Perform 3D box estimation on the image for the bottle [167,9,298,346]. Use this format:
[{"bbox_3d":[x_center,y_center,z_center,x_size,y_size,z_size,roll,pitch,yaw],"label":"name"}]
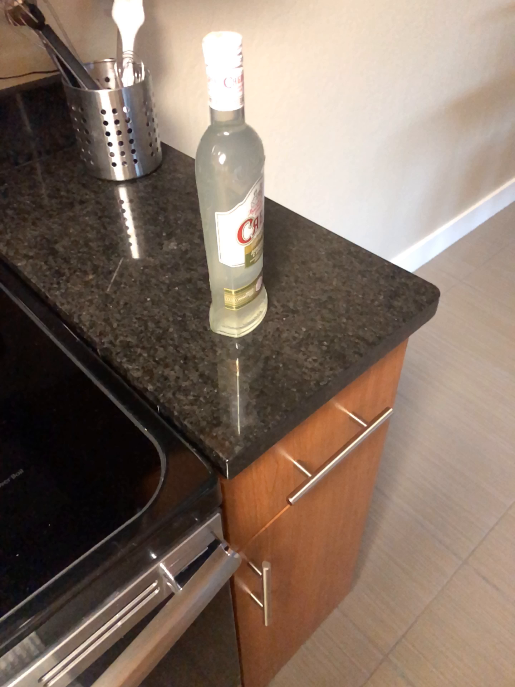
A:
[{"bbox_3d":[-0.014,-0.132,0.506,0.060,0.269,0.090,18,47,19],"label":"bottle"}]
